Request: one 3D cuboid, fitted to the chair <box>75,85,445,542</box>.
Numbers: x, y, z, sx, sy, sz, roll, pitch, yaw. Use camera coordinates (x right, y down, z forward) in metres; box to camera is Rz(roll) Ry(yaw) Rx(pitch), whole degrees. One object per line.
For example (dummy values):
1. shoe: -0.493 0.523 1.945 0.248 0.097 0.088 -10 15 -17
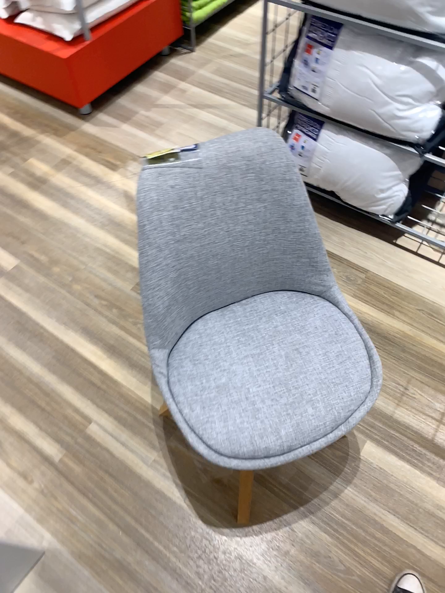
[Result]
1. chair: 0.103 0.124 1.014 0.513 0.857 0.517 -20 58 -11
